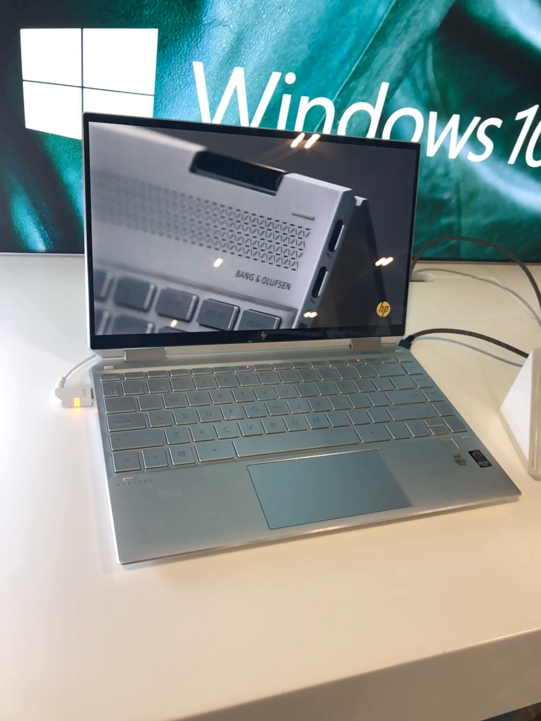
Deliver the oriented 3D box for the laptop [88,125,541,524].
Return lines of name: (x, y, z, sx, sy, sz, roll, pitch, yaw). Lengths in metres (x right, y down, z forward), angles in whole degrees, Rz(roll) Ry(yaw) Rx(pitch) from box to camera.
laptop: (0.025, -0.041, 0.442, 0.281, 0.194, 0.240, -3, 33, -22)
